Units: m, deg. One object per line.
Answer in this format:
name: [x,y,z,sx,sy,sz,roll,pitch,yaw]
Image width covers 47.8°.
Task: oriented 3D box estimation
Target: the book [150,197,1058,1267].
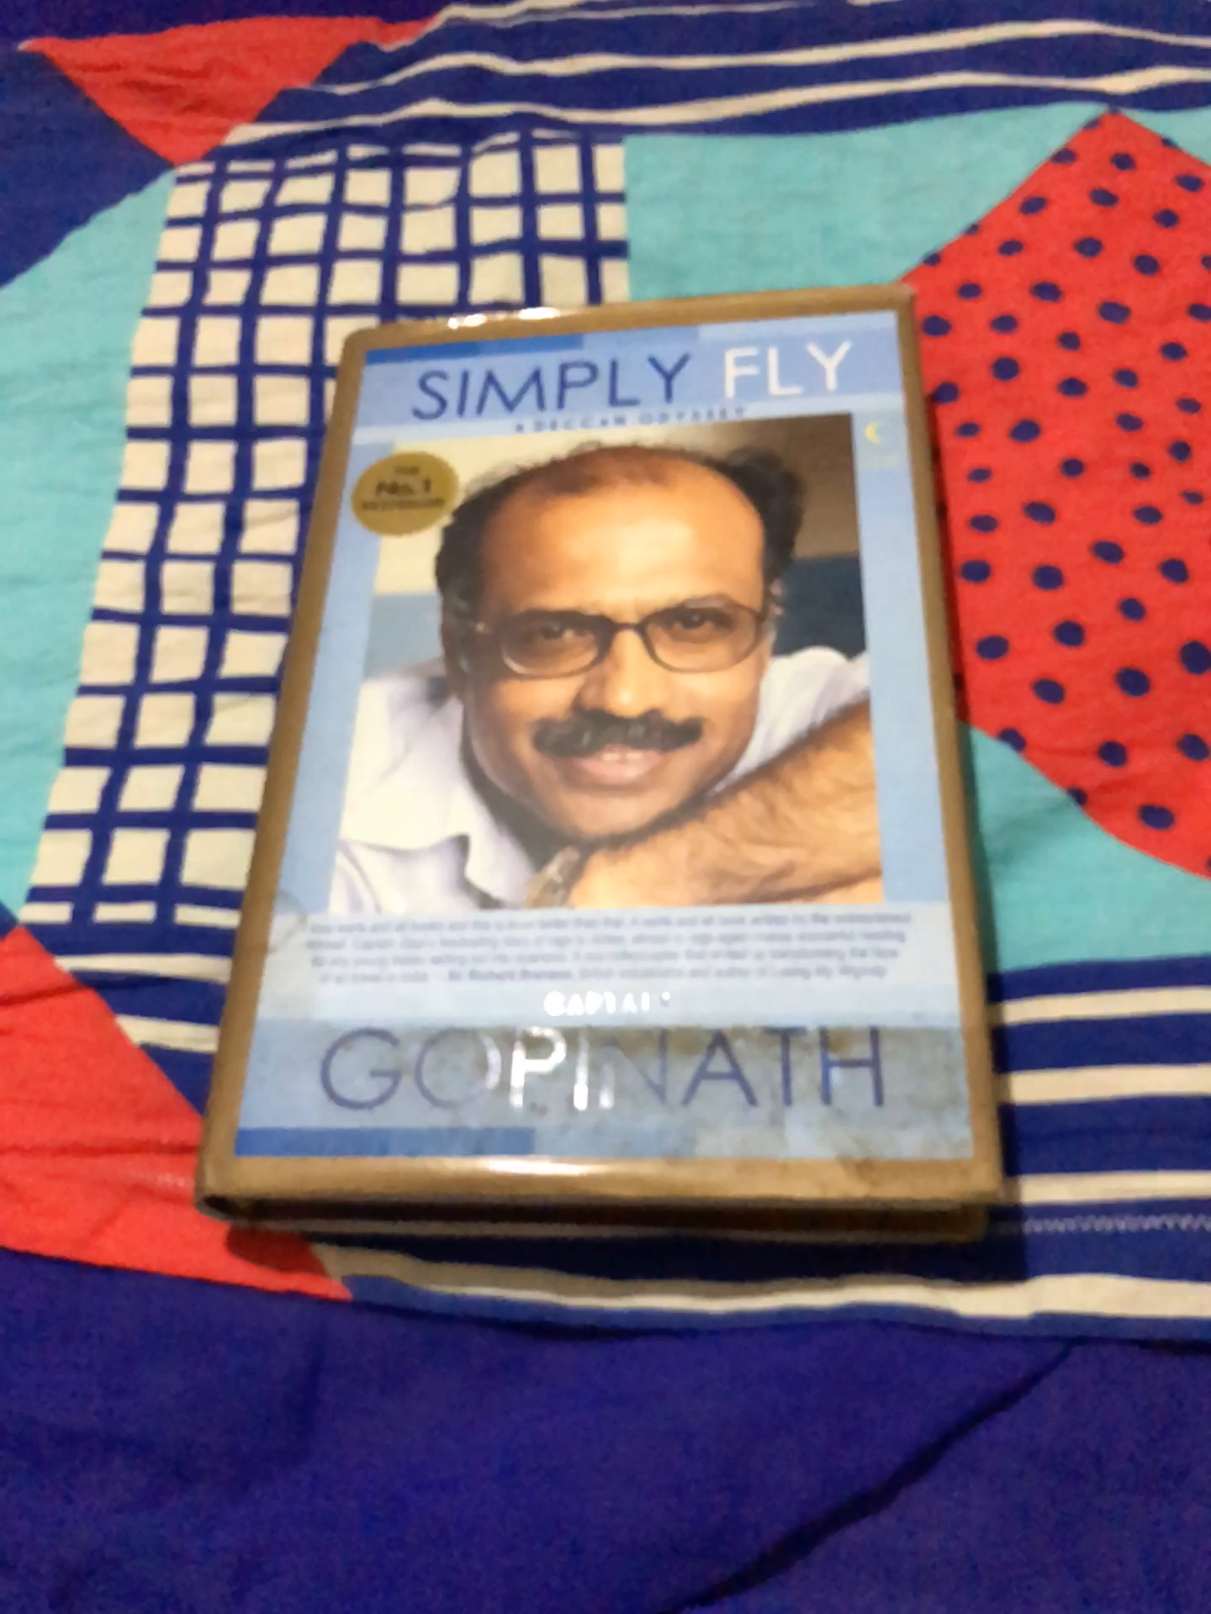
book: [0.003,-0.028,0.317,0.160,0.050,0.250,-1,63,6]
